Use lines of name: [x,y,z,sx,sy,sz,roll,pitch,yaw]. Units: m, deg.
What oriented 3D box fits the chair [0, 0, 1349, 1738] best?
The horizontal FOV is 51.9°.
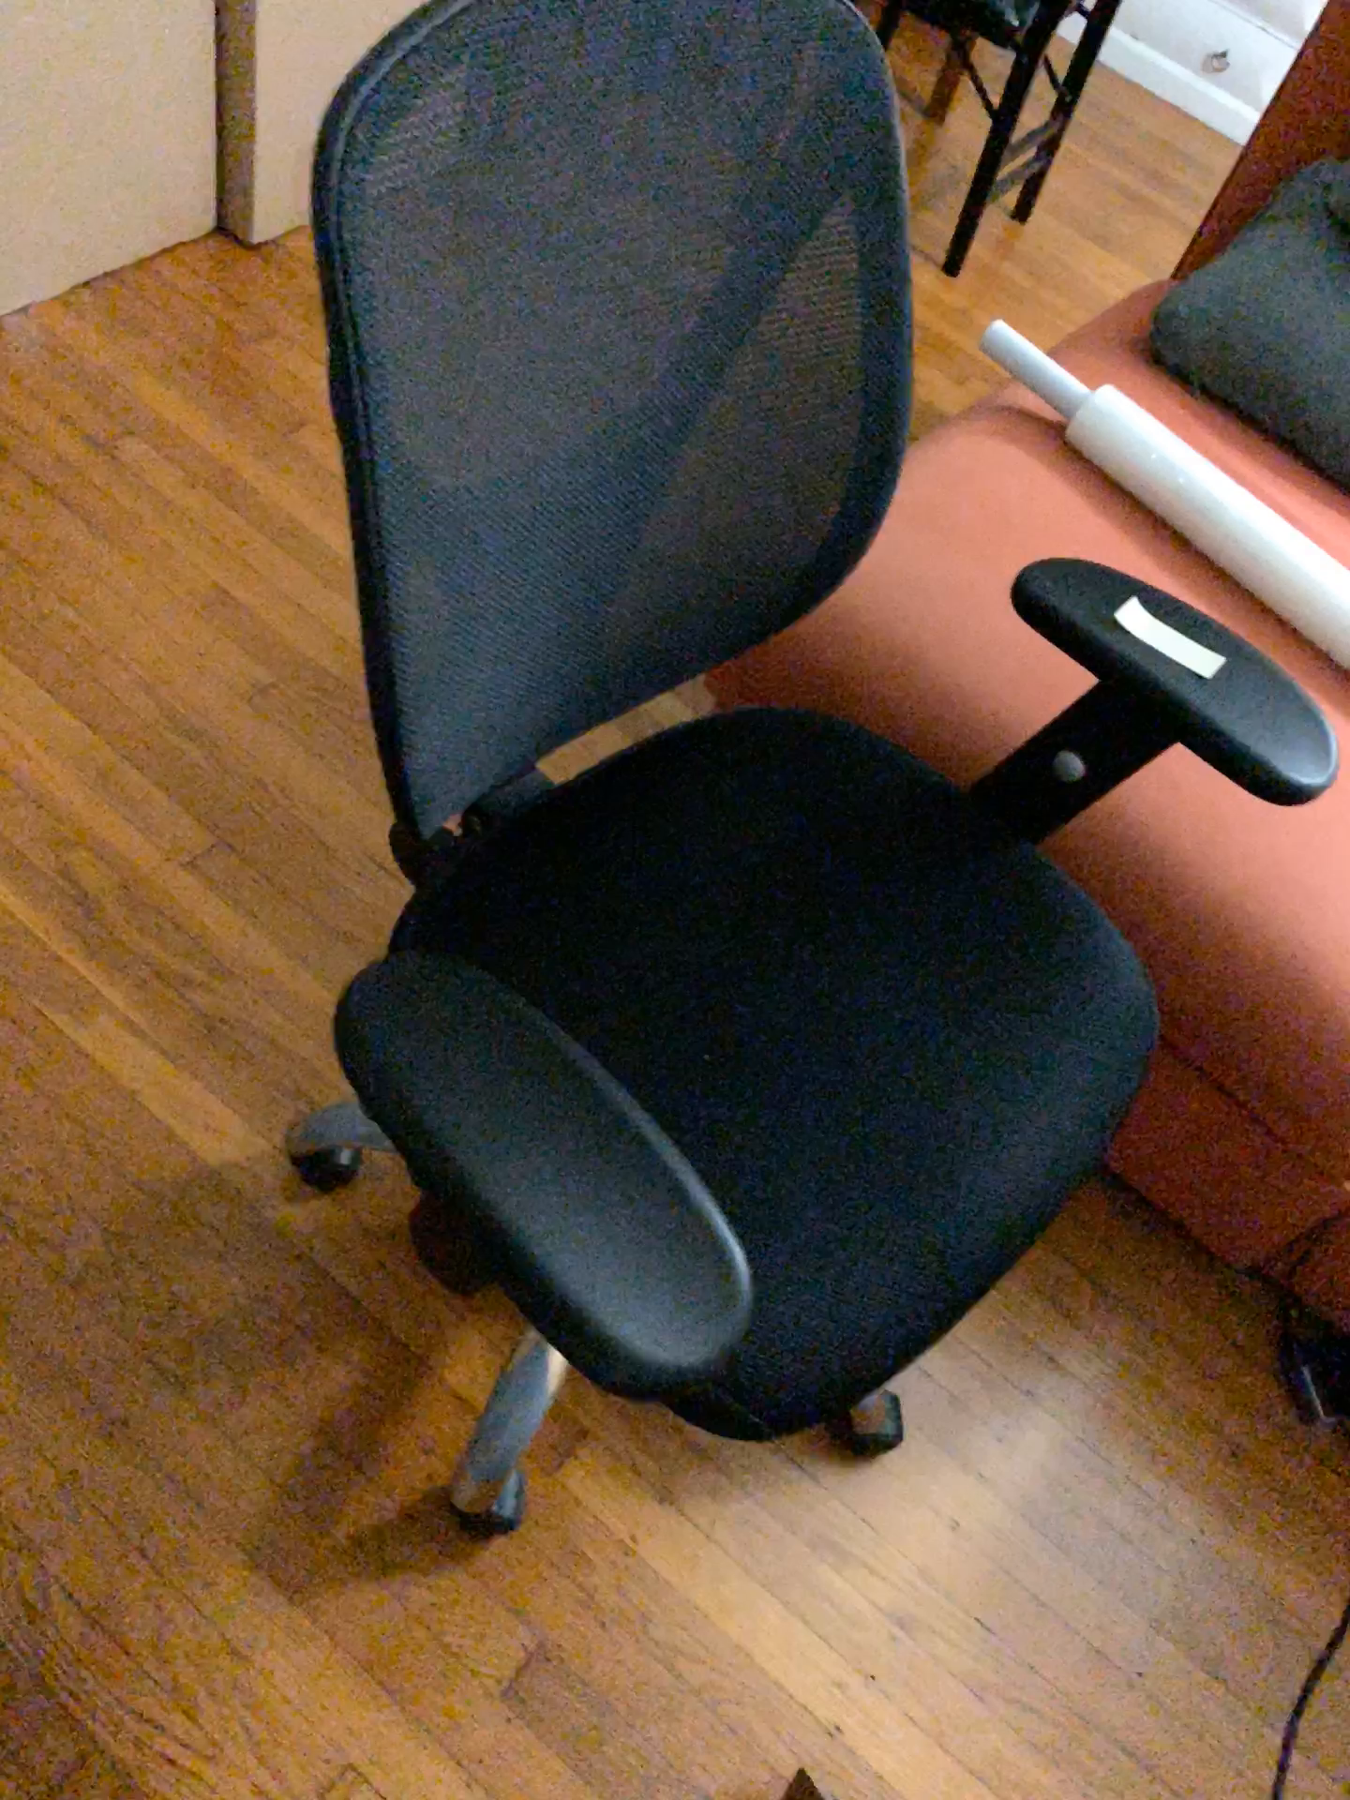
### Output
chair: [0.060,-0.029,0.961,0.642,0.976,0.661,-32,65,-33]
